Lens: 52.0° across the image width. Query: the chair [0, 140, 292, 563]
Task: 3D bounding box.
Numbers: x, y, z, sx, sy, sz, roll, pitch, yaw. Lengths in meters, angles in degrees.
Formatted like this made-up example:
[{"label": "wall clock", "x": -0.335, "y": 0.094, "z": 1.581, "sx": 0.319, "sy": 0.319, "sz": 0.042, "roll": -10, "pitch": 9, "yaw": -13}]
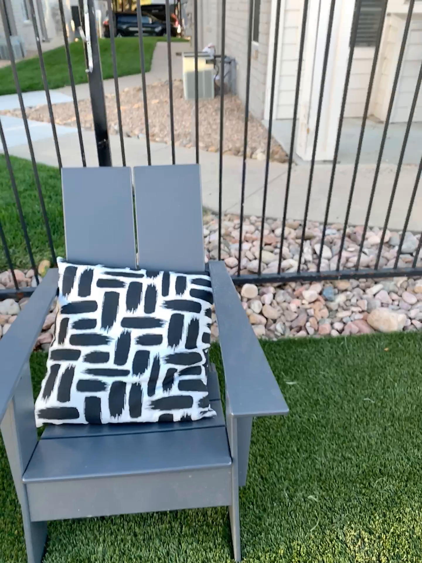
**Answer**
[{"label": "chair", "x": -0.216, "y": 0.139, "z": 1.199, "sx": 0.620, "sy": 0.806, "sz": 0.884, "roll": -2, "pitch": 32, "yaw": -3}]
